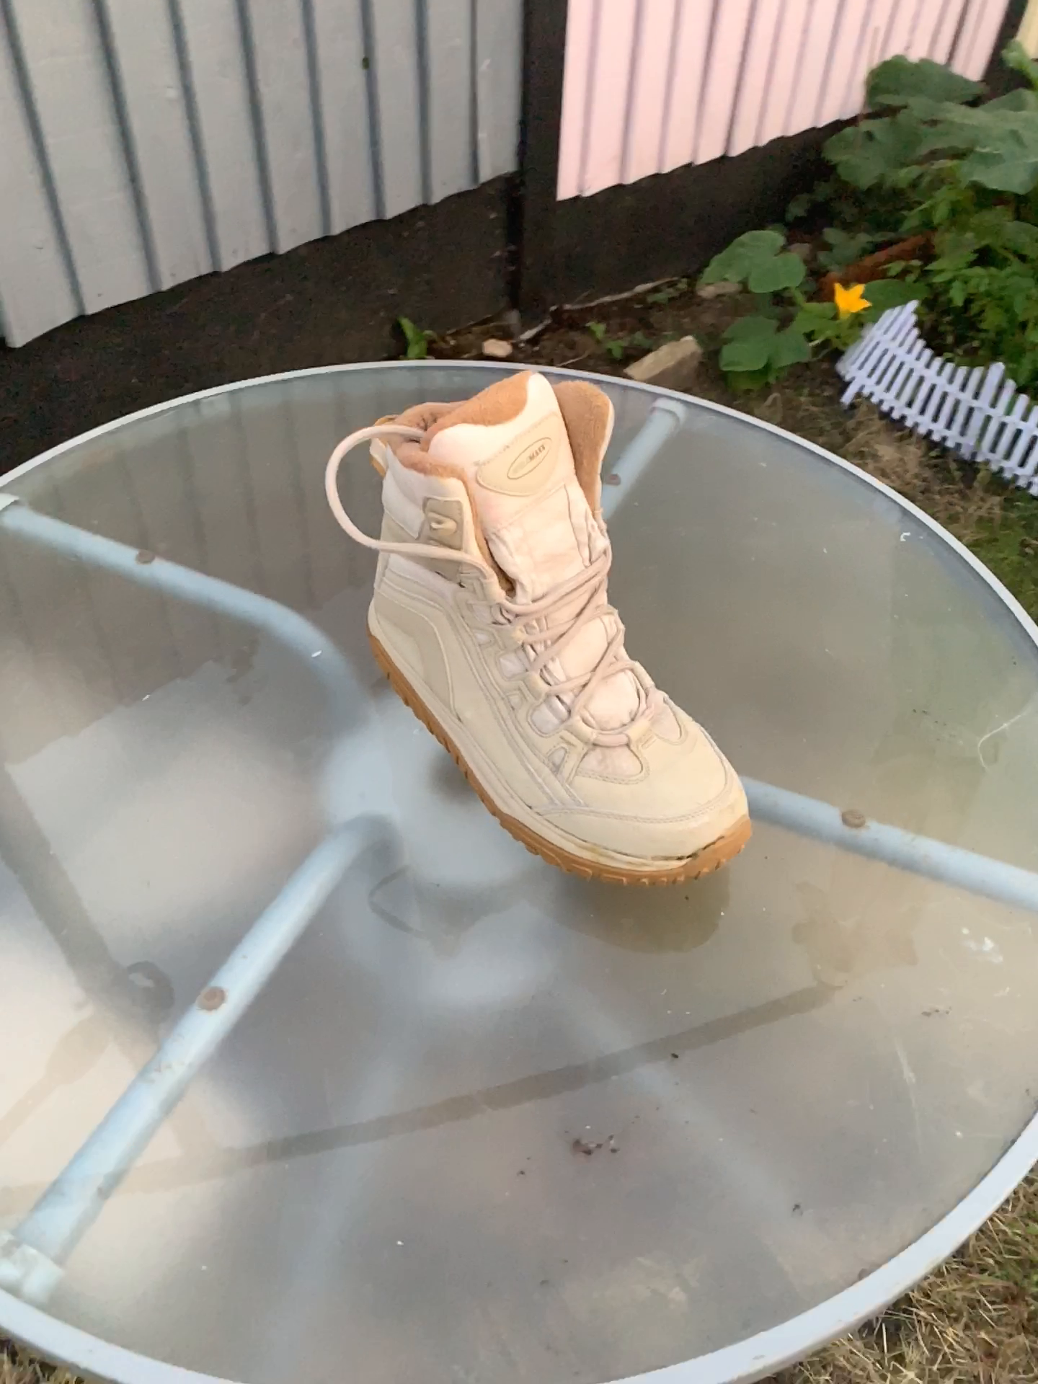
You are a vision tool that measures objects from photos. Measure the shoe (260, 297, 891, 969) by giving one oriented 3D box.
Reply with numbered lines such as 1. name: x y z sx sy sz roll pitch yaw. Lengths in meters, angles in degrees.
1. shoe: 0.008 -0.040 0.541 0.121 0.198 0.282 -31 55 -31
